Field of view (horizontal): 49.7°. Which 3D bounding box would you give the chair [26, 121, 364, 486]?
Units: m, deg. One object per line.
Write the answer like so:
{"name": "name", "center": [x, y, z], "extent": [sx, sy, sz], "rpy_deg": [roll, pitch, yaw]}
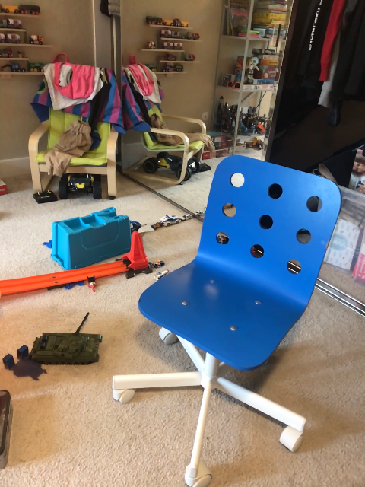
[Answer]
{"name": "chair", "center": [0.095, 0.192, 1.074], "extent": [0.620, 0.814, 0.675], "rpy_deg": [25, 34, 28]}
